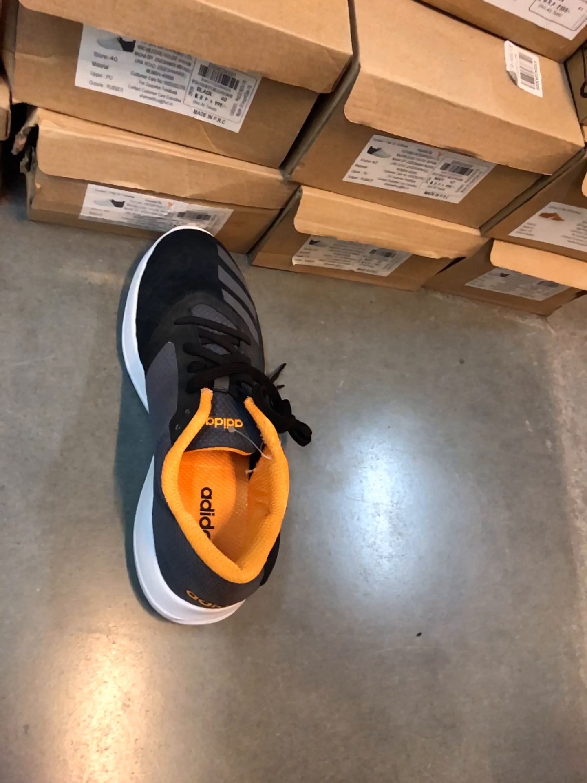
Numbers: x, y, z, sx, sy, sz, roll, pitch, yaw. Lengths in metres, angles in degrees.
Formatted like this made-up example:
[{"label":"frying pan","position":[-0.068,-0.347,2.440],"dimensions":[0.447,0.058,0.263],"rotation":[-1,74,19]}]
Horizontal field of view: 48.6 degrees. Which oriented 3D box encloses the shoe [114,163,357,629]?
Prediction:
[{"label":"shoe","position":[-0.048,0.009,0.431],"dimensions":[0.110,0.117,0.271],"rotation":[6,68,-25]}]
